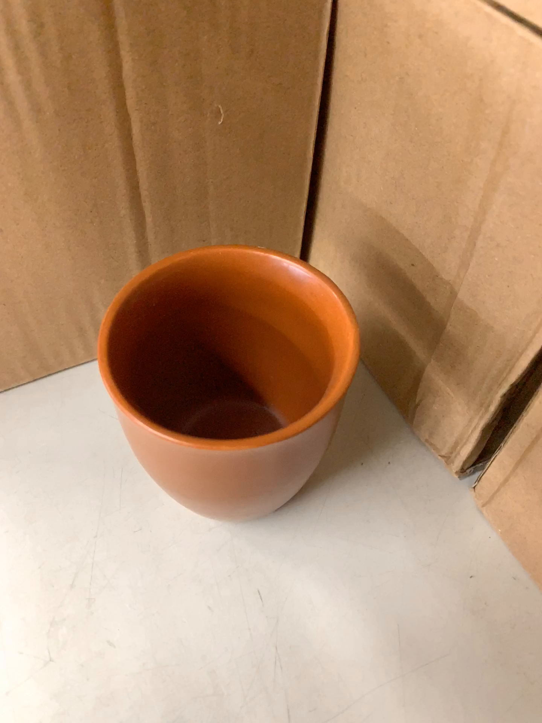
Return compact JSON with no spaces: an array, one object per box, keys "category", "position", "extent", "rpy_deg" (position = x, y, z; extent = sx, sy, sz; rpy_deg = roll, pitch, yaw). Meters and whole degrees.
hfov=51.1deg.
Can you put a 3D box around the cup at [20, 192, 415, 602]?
[{"category":"cup","position":[-0.010,0.012,0.171],"extent":[0.070,0.079,0.070],"rpy_deg":[0,54,0]}]
